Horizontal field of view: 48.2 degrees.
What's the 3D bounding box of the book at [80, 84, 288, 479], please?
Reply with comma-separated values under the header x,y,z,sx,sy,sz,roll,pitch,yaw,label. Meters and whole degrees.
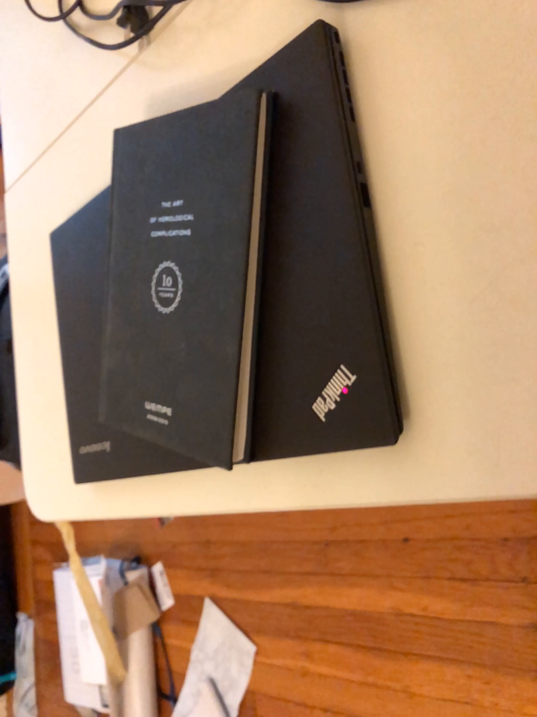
x,y,z,sx,sy,sz,roll,pitch,yaw,label
-0.067,-0.049,0.407,0.171,0.030,0.220,8,95,46,book
